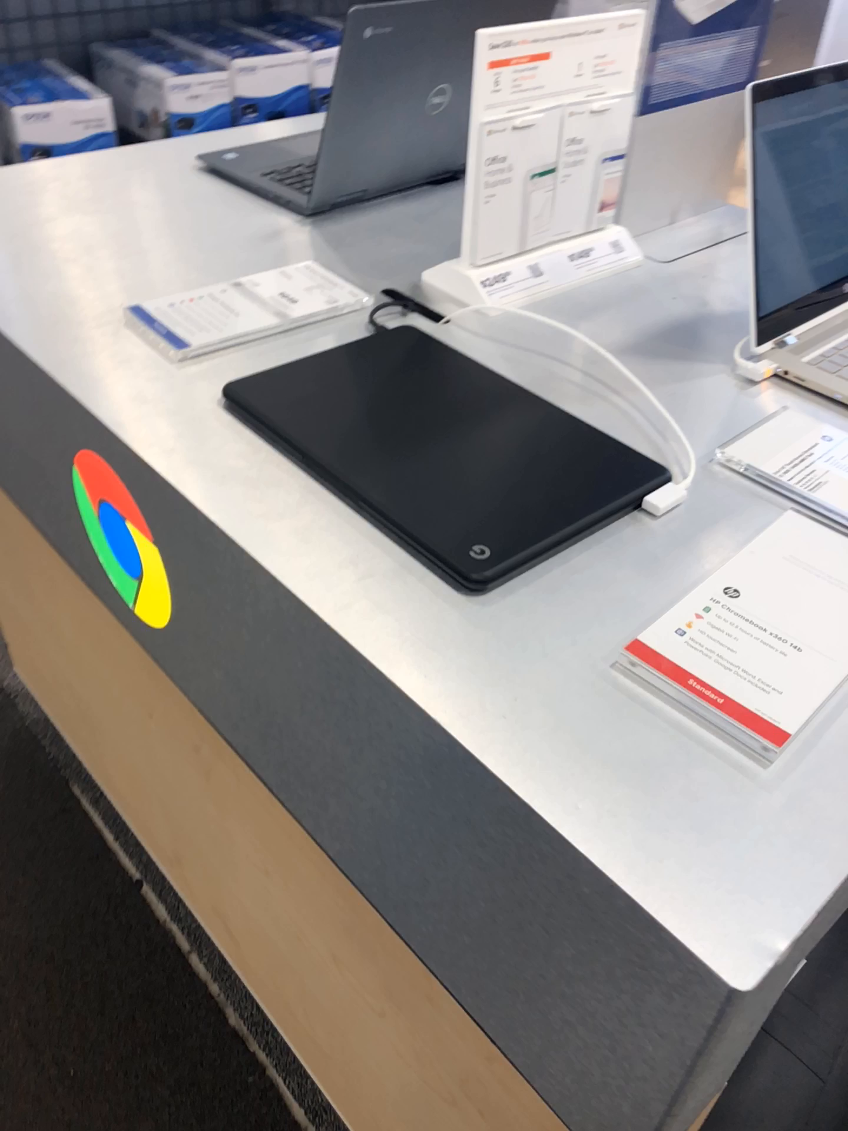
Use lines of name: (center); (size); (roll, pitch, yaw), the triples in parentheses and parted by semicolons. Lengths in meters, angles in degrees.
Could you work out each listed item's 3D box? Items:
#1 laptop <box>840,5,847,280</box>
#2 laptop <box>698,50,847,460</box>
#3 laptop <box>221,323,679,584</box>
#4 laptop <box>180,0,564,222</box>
laptop: (0.728, -0.507, 1.085); (0.306, 0.189, 0.288); (-28, 48, -31)
laptop: (0.463, -0.285, 0.796); (0.303, 0.205, 0.275); (-28, 48, -32)
laptop: (0.012, -0.103, 0.700); (0.195, 0.001, 0.297); (-27, 49, -32)
laptop: (-0.063, -0.581, 1.106); (0.299, 0.196, 0.293); (-30, 50, -33)
